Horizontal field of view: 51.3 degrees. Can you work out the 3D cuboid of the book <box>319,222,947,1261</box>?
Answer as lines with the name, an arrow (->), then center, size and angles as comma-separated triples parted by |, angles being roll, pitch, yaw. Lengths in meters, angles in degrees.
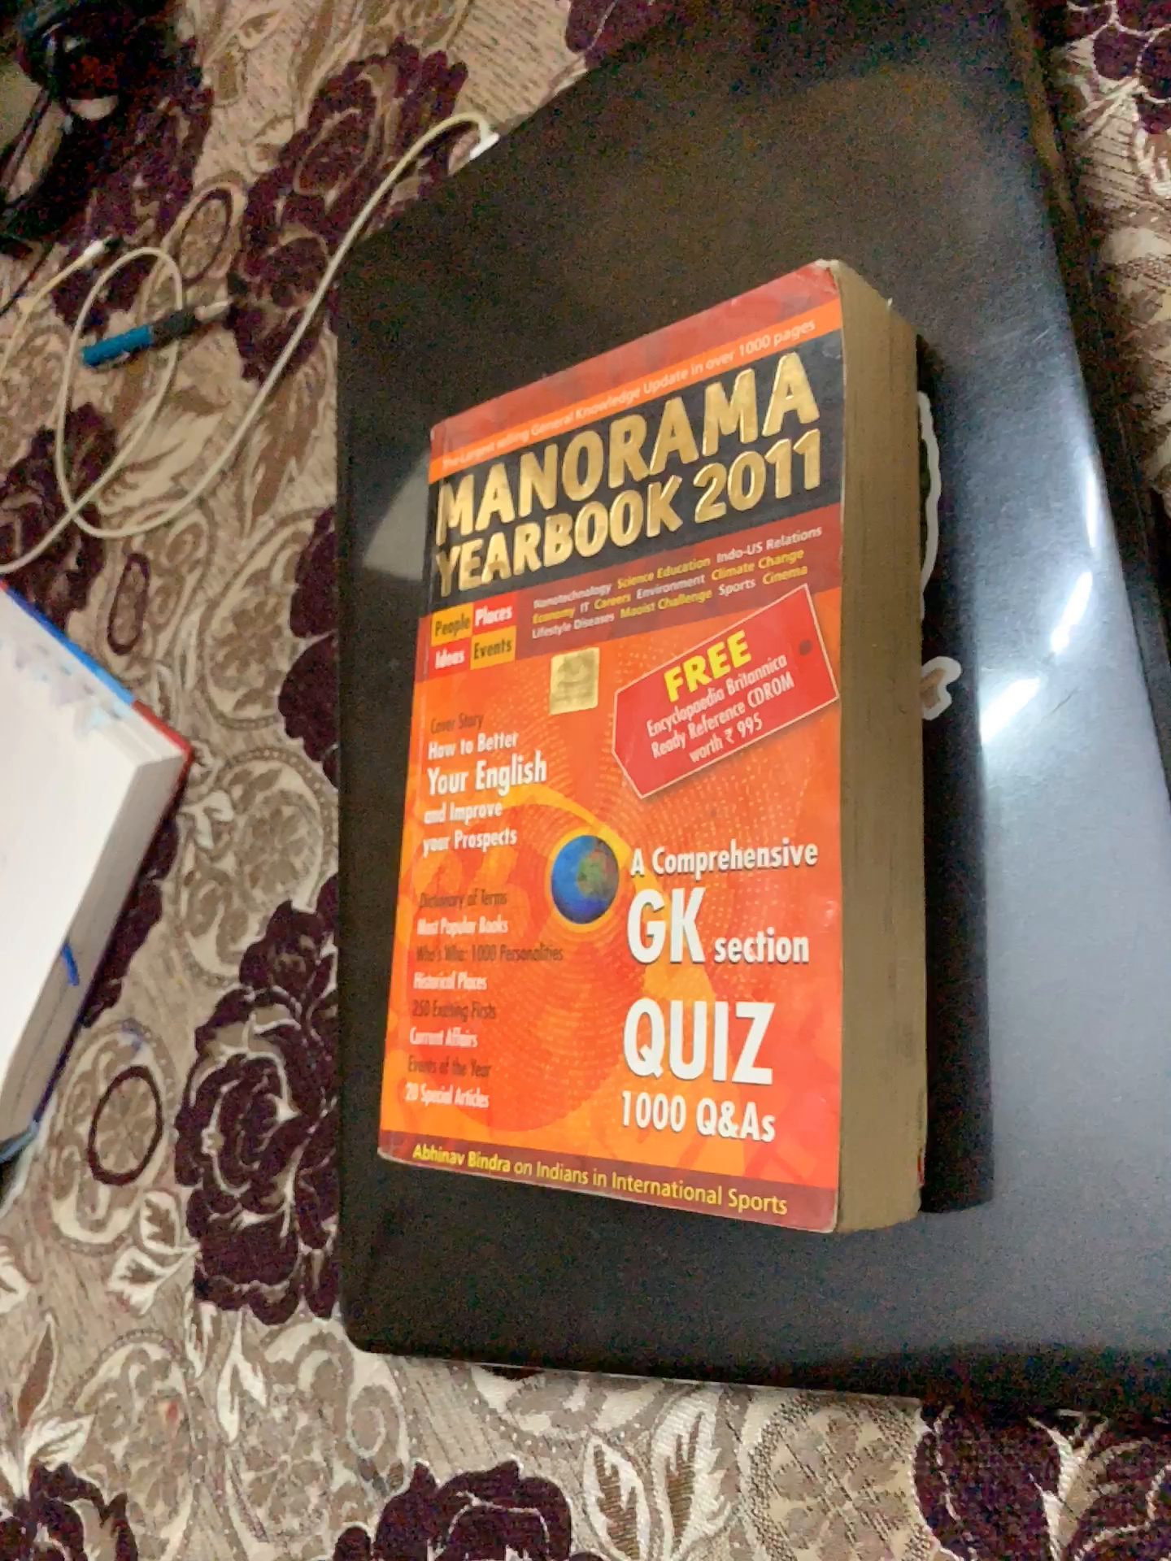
book -> 0.011, -0.006, 0.300 | 0.141, 0.050, 0.210 | -6, 74, 38
